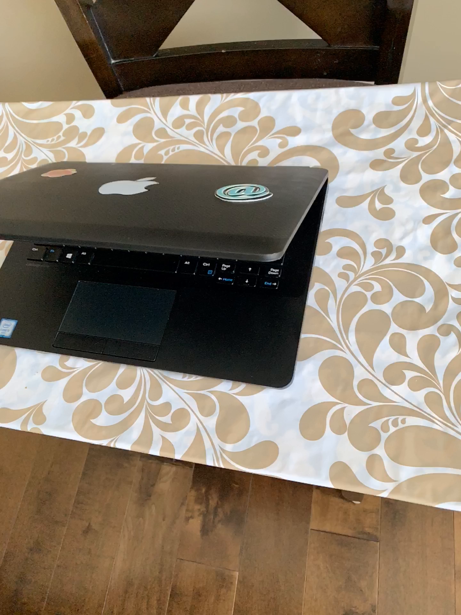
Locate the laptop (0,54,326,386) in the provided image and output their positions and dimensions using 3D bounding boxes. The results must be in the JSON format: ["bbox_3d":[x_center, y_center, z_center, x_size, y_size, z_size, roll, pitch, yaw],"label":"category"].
[{"bbox_3d":[-0.090,-0.075,0.381,0.300,0.127,0.199,7,65,16],"label":"laptop"}]
